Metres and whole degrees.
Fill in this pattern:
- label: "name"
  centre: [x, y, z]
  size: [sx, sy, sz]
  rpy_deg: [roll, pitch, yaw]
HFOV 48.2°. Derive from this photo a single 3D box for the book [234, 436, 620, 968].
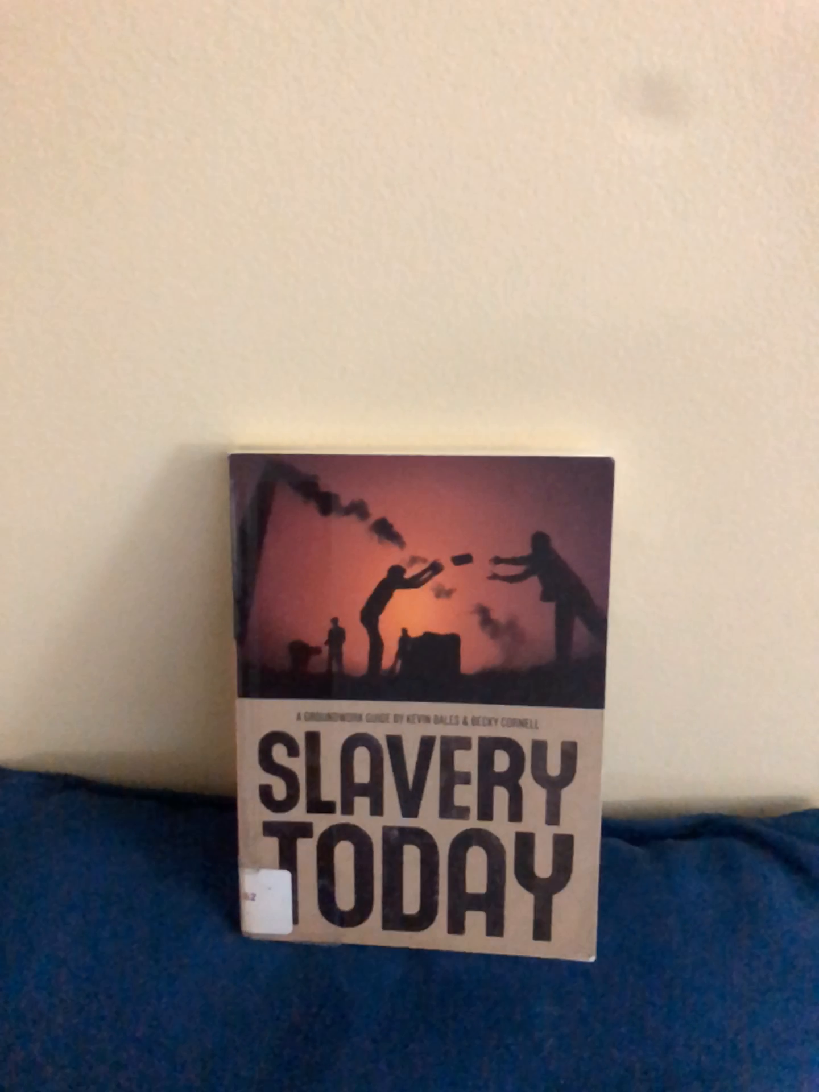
- label: "book"
  centre: [0.004, 0.054, 0.327]
  size: [0.127, 0.182, 0.028]
  rpy_deg: [2, 8, 5]
